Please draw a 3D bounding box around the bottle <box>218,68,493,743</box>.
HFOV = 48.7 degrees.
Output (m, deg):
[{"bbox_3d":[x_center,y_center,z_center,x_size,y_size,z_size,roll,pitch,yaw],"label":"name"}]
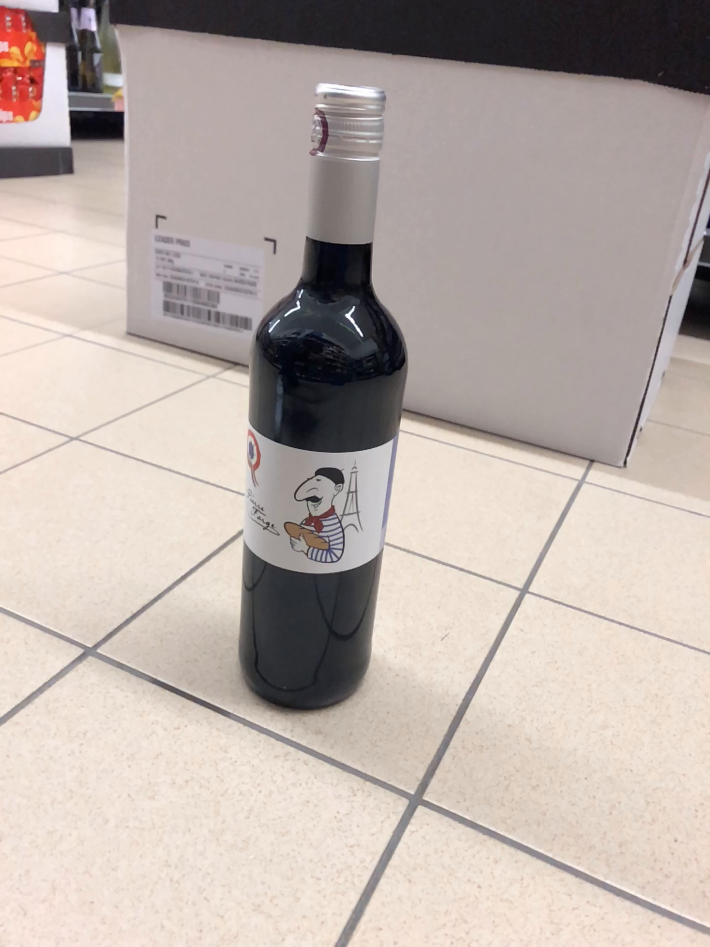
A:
[{"bbox_3d":[-0.007,-0.022,0.378,0.080,0.298,0.081,5,26,-3],"label":"bottle"}]
